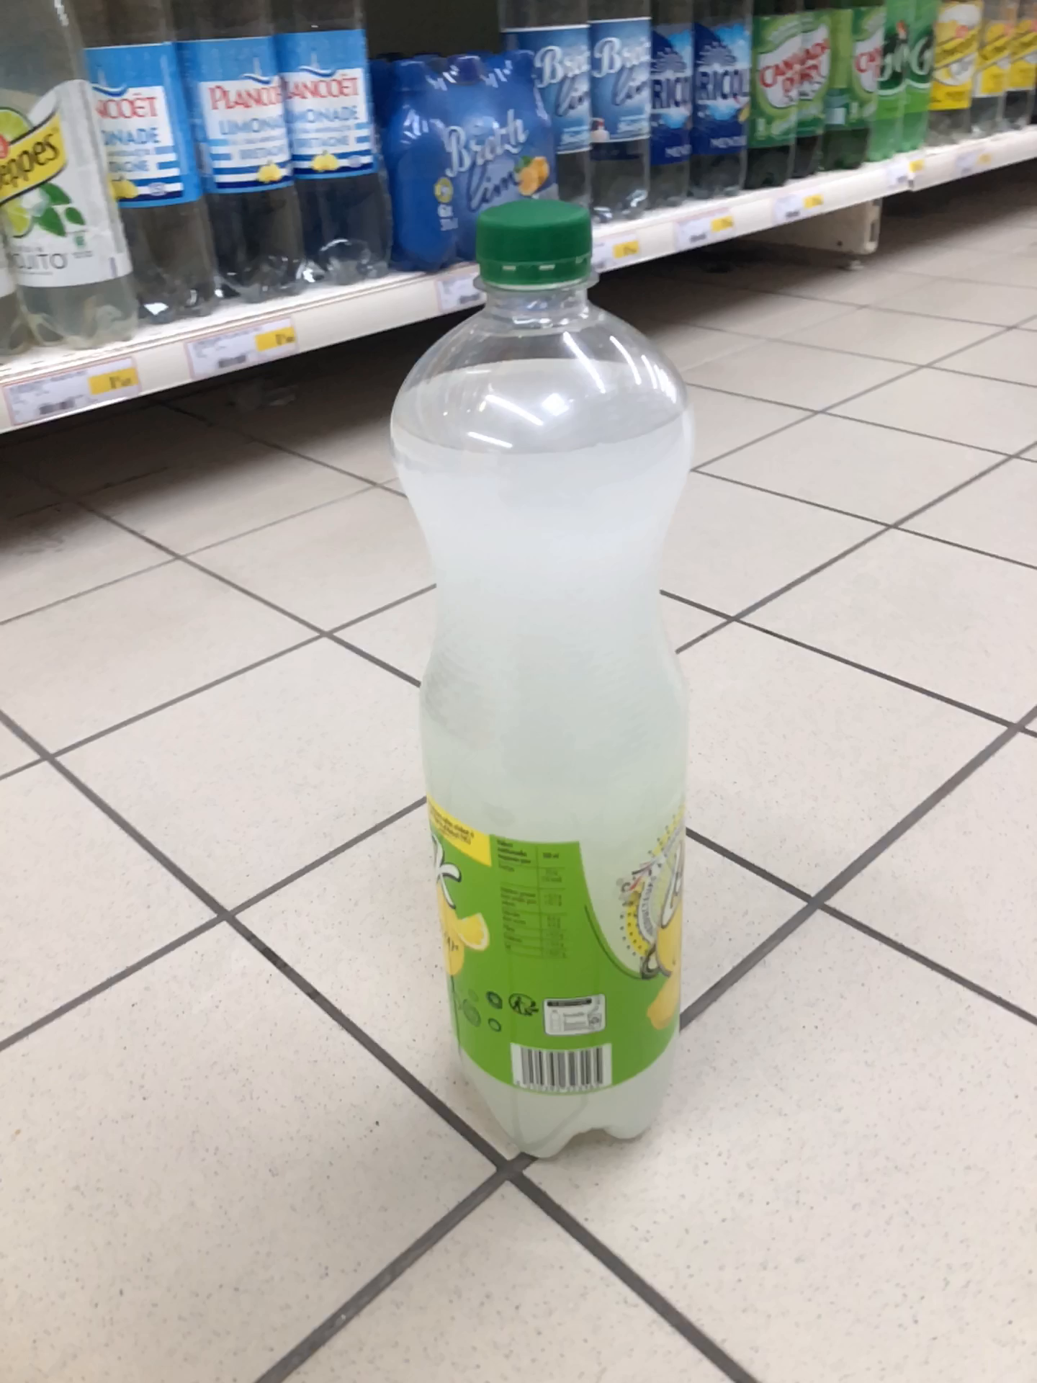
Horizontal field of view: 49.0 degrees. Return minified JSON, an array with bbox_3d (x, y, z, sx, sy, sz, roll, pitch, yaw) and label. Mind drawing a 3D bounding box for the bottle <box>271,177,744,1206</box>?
[{"bbox_3d":[0.012,0.013,0.360,0.100,0.308,0.101,-3,30,2],"label":"bottle"}]
